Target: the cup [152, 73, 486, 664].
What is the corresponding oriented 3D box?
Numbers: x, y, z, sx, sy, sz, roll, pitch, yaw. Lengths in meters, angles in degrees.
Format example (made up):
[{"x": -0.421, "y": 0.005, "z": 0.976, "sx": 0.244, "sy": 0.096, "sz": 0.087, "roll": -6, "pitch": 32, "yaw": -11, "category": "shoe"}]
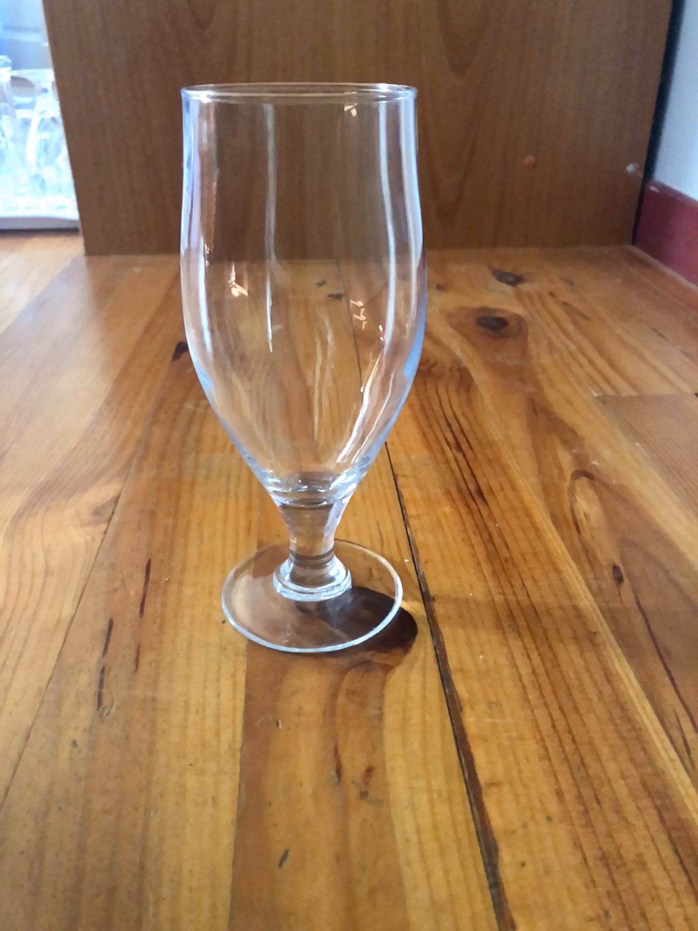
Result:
[{"x": -0.013, "y": -0.032, "z": 0.271, "sx": 0.083, "sy": 0.183, "sz": 0.081, "roll": 0, "pitch": 30, "yaw": 0, "category": "cup"}]
